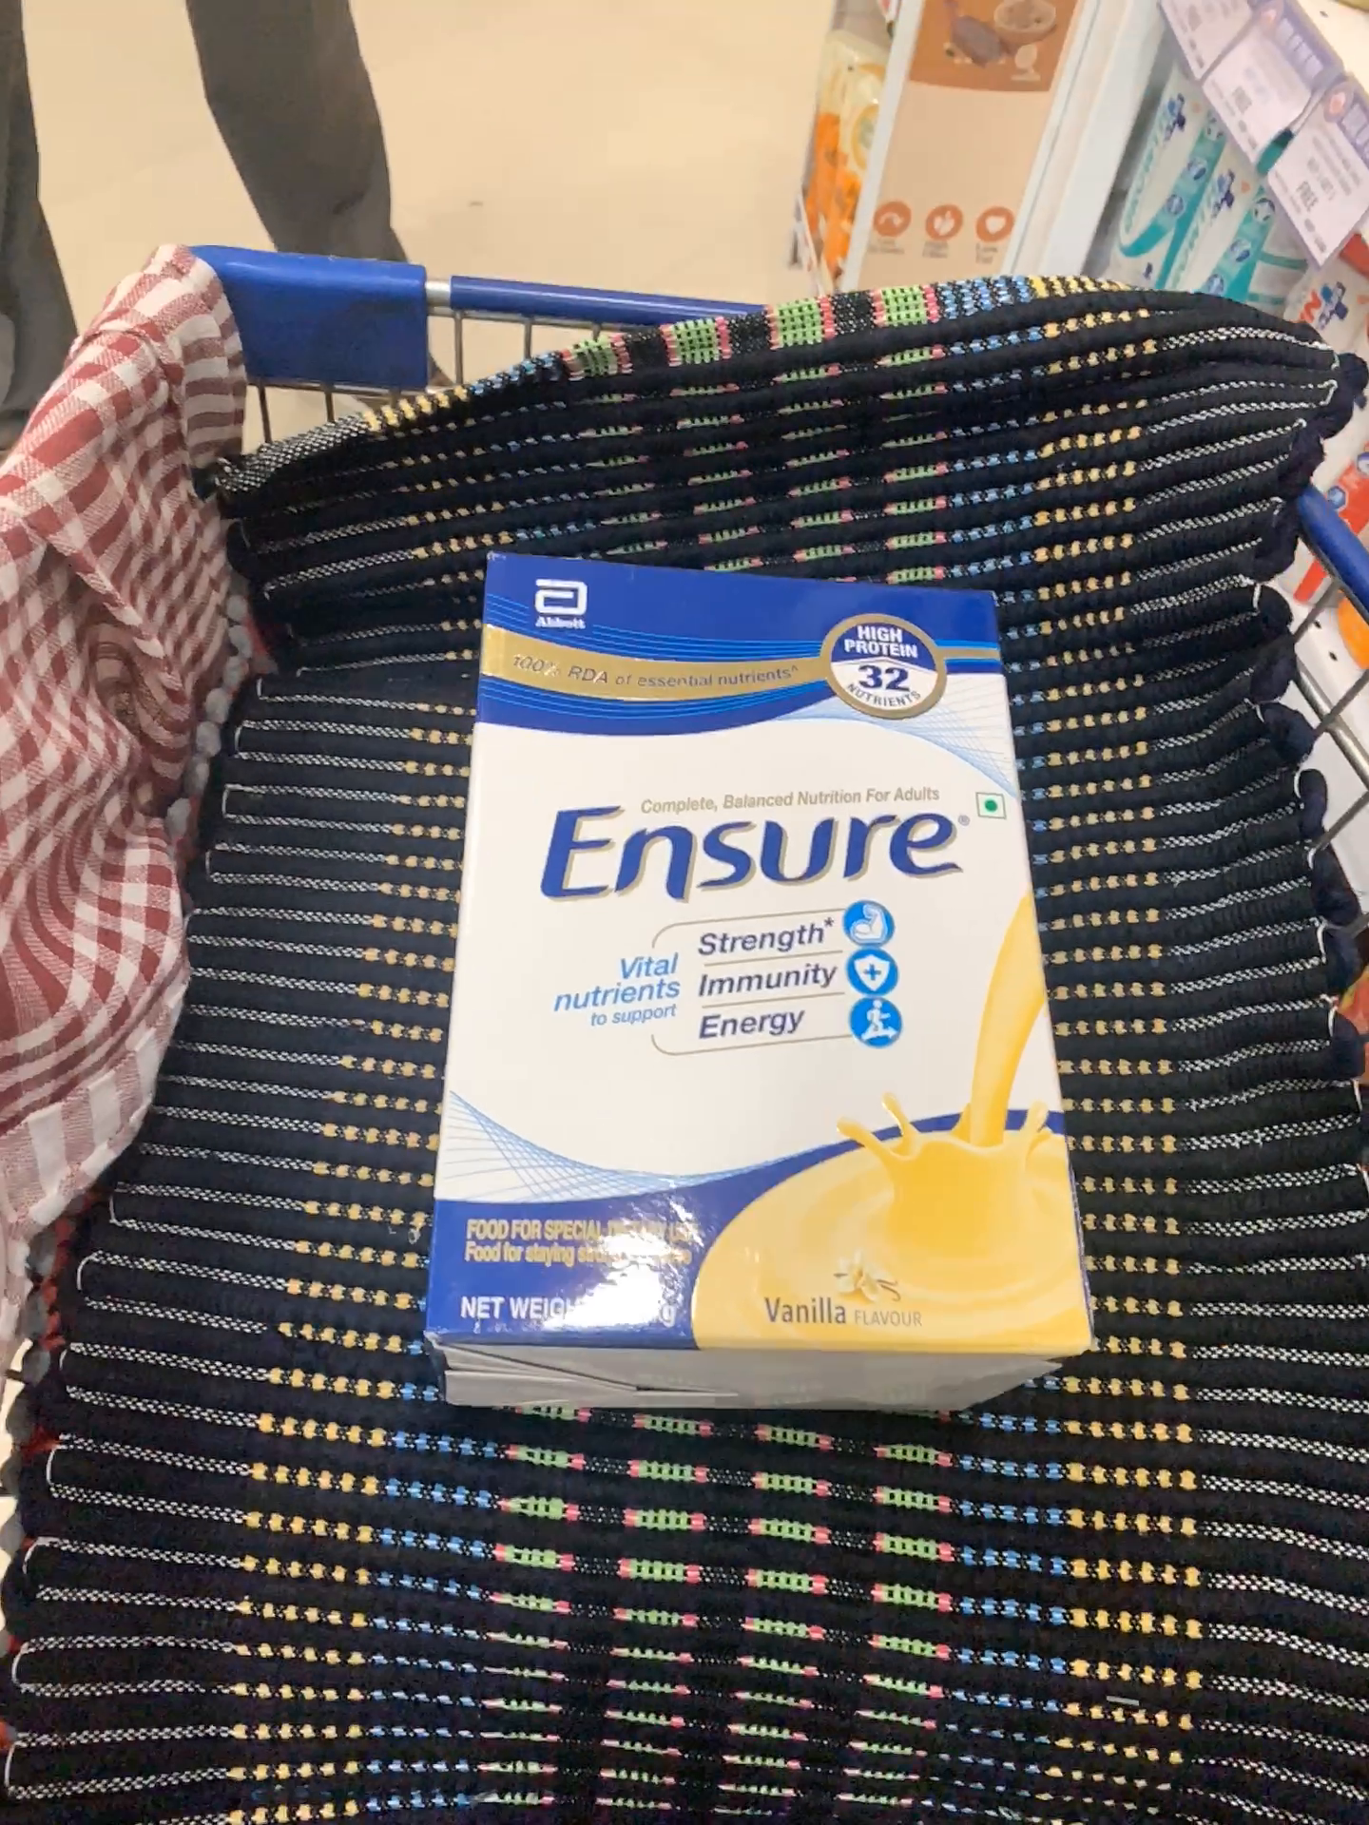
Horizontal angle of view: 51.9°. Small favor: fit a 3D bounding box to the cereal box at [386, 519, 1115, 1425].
[{"bbox_3d":[0.010,0.013,0.380,0.150,0.090,0.220,3,60,-6],"label":"cereal box"}]
